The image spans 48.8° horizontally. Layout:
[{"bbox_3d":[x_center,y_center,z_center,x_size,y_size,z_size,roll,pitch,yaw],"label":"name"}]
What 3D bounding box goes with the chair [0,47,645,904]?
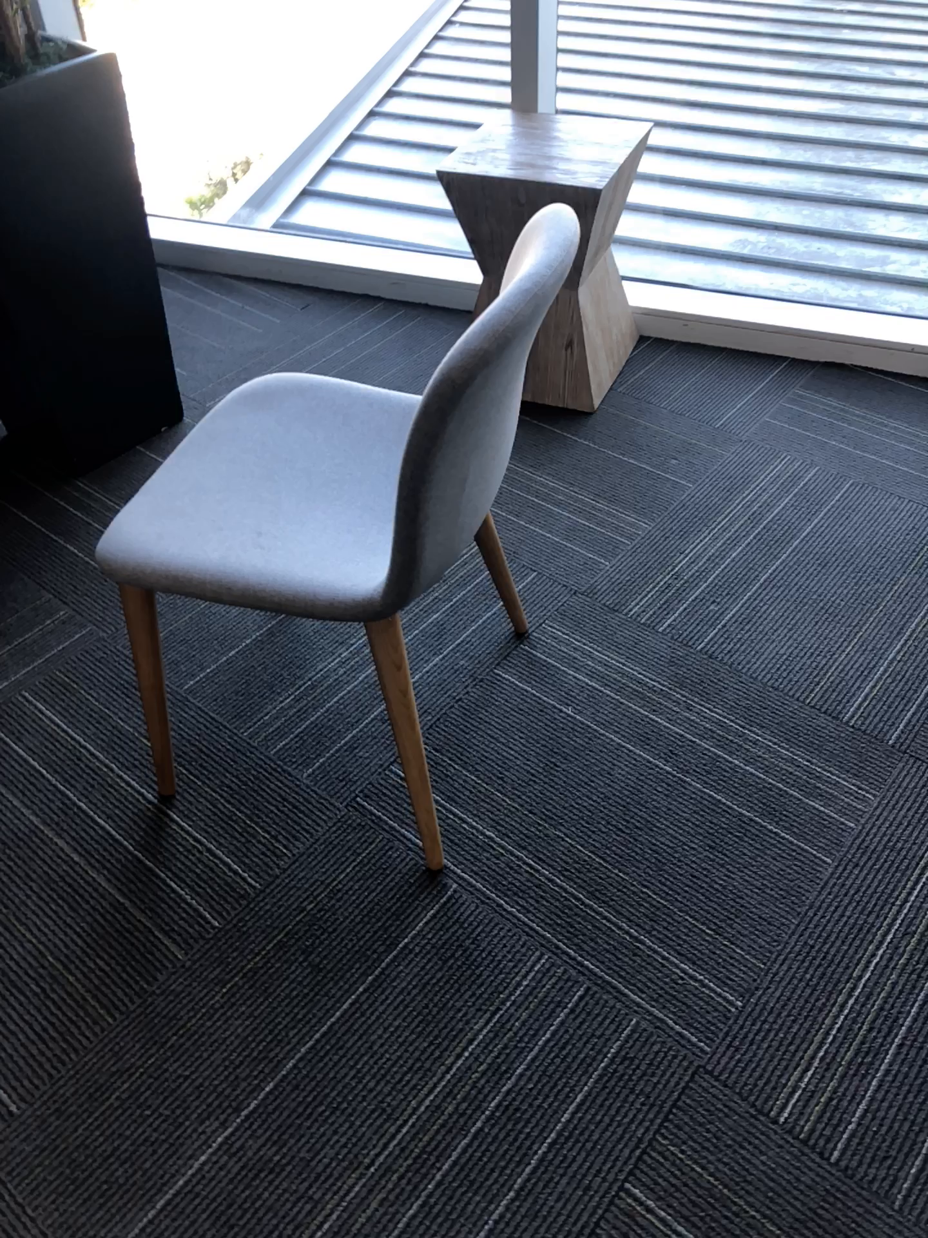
[{"bbox_3d":[-0.175,-0.178,1.346,0.611,0.846,0.562,14,45,13],"label":"chair"}]
